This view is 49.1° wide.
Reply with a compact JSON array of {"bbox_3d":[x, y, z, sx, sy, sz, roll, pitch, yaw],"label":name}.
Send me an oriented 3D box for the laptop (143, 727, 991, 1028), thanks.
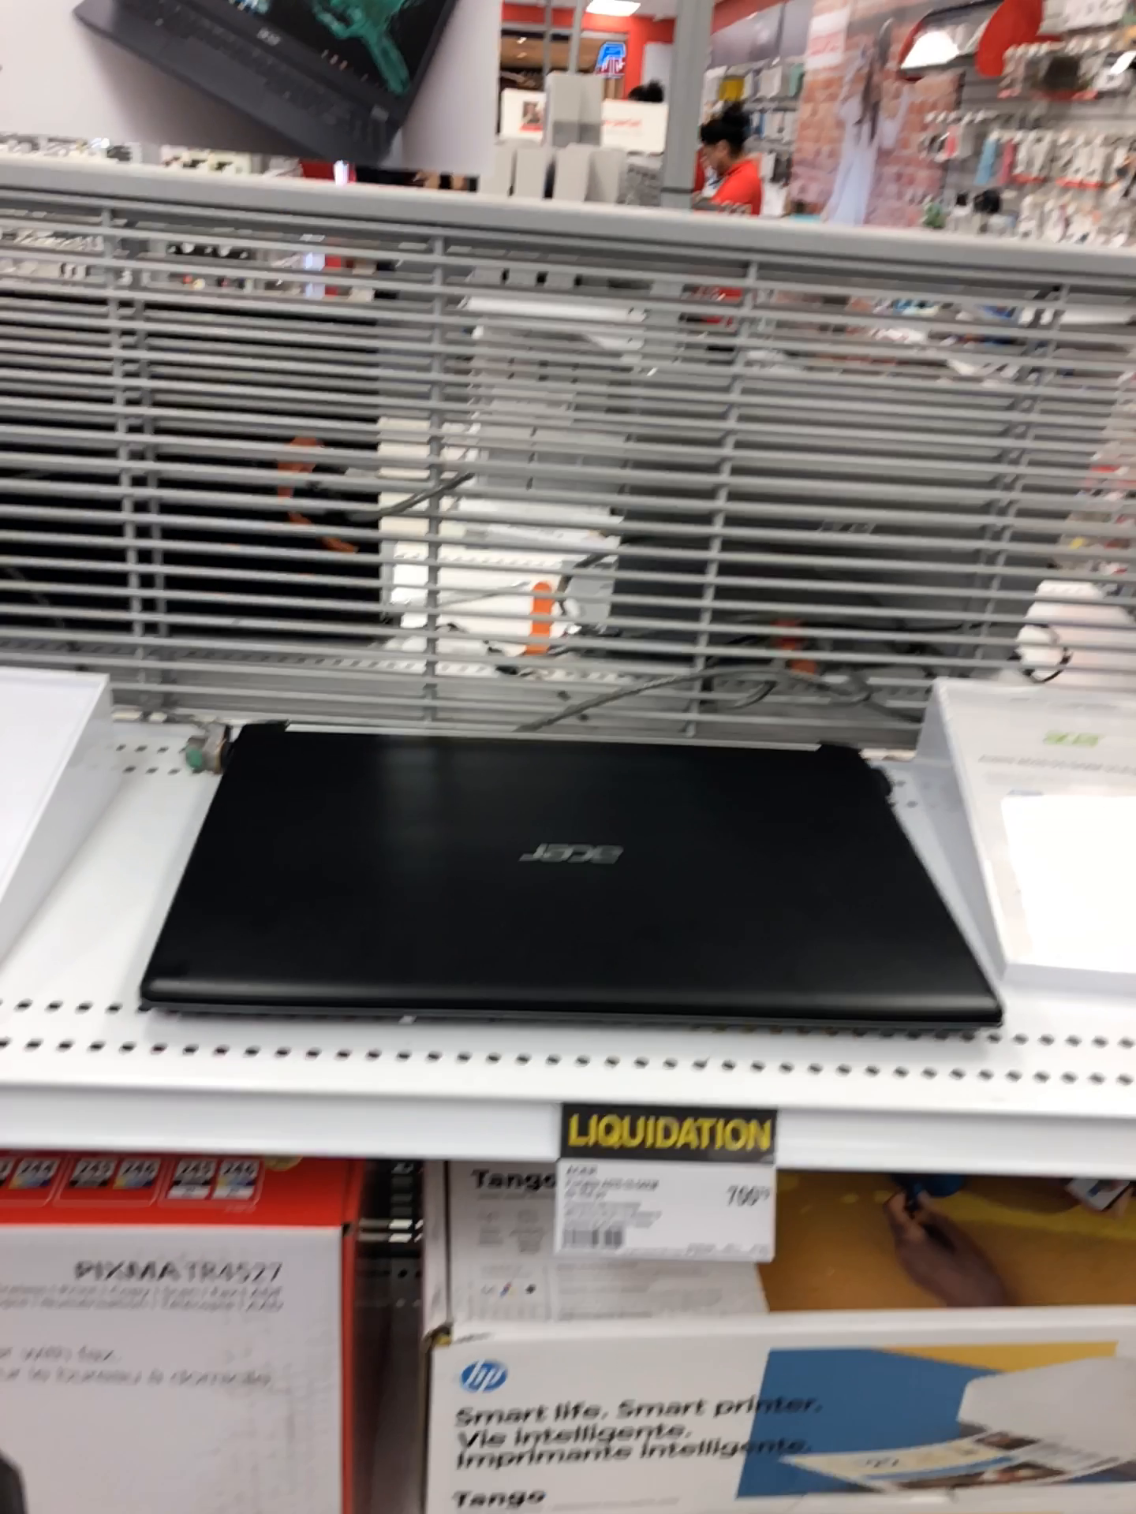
[{"bbox_3d":[0.001,0.051,0.628,0.361,0.012,0.228,2,30,-5],"label":"laptop"}]
